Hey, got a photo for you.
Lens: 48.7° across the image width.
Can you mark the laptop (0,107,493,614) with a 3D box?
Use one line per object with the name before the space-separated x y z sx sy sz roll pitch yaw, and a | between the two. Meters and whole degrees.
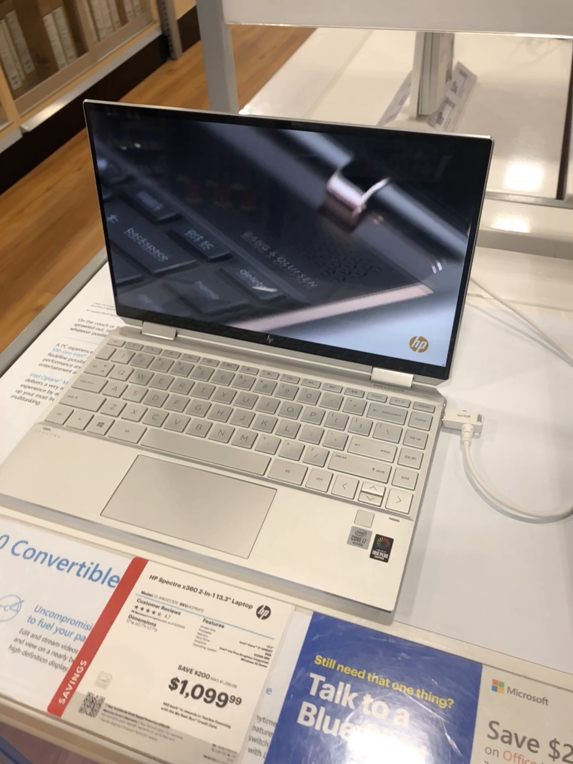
laptop | -0.046 -0.036 0.426 0.303 0.184 0.228 12 47 17
